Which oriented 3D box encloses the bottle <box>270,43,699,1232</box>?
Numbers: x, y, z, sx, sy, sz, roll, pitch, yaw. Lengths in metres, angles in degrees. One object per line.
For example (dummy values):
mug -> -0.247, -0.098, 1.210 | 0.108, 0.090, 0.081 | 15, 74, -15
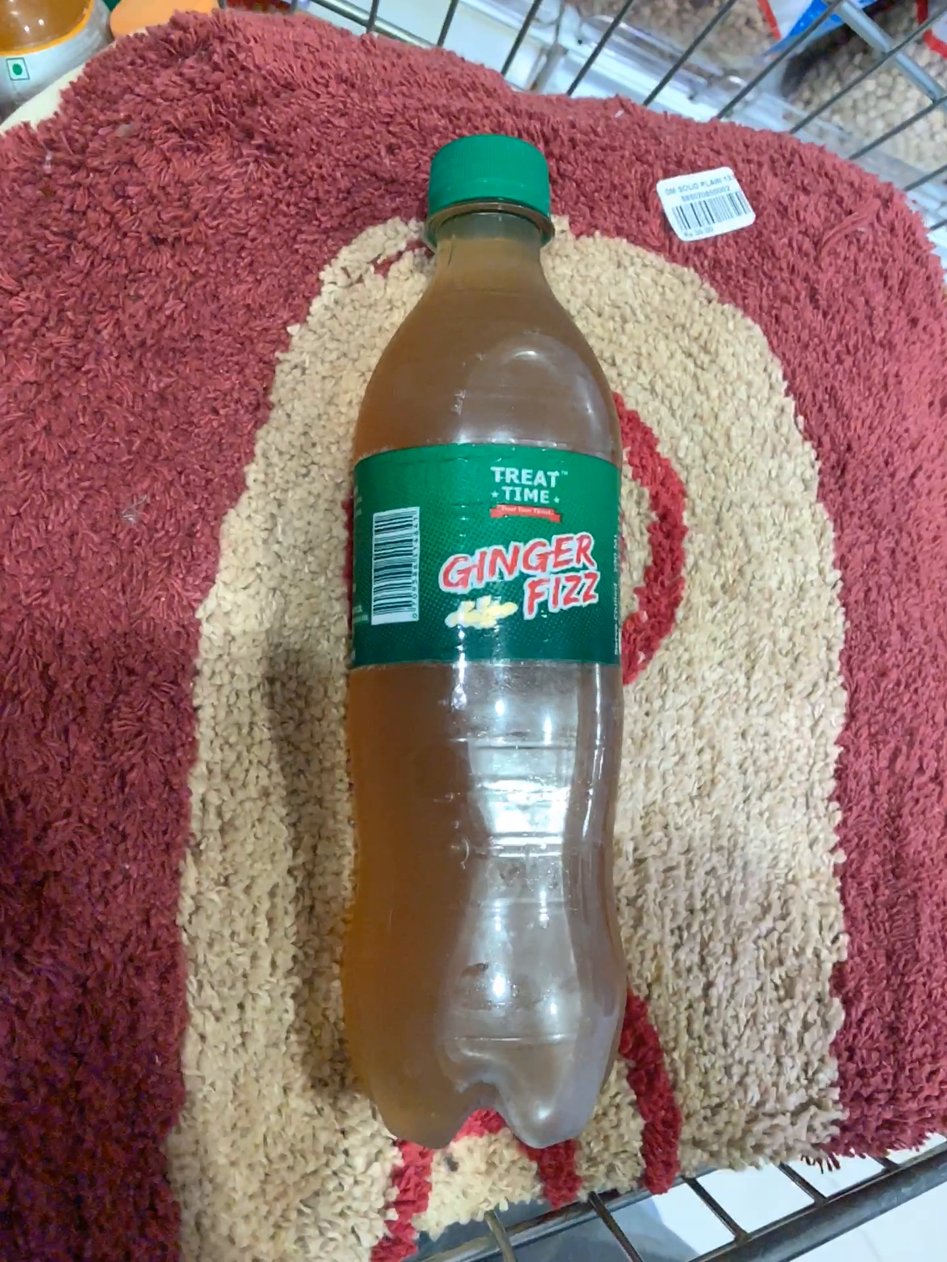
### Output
bottle -> 0.000, 0.001, 0.227 | 0.070, 0.070, 0.220 | 3, 87, -23
